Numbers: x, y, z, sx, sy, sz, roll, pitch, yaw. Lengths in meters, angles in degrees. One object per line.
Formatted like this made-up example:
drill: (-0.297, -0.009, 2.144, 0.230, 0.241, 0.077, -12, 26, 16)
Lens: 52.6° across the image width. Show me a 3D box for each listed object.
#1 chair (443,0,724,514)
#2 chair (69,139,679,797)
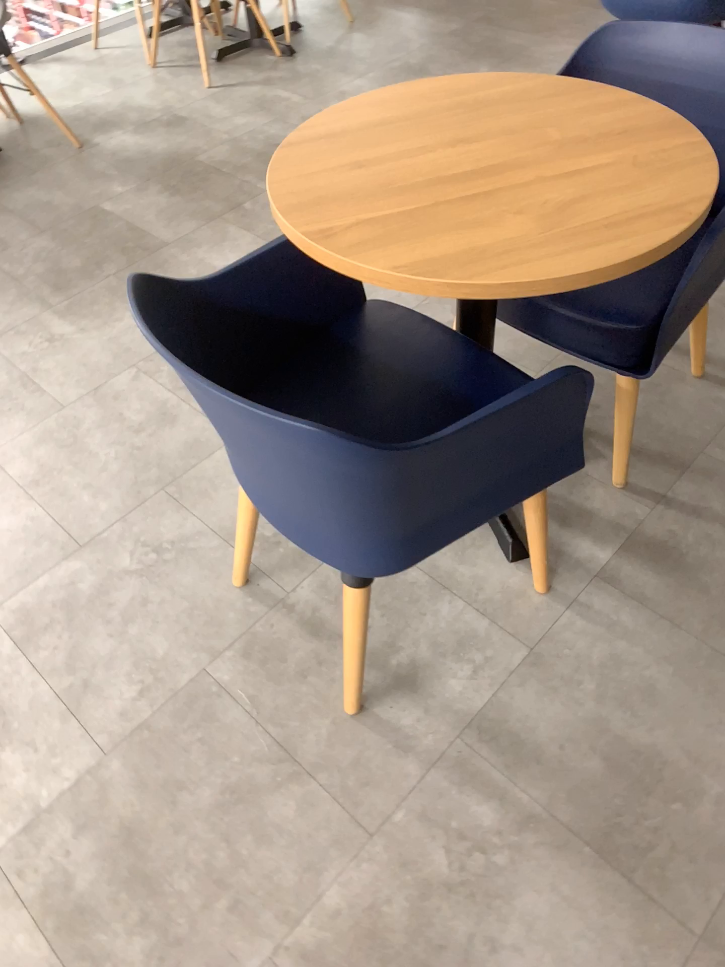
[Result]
chair: (0.565, -0.477, 1.526, 0.564, 0.735, 0.559, 34, 59, 31)
chair: (0.020, -0.022, 1.203, 0.548, 0.735, 0.565, -32, 53, -22)
